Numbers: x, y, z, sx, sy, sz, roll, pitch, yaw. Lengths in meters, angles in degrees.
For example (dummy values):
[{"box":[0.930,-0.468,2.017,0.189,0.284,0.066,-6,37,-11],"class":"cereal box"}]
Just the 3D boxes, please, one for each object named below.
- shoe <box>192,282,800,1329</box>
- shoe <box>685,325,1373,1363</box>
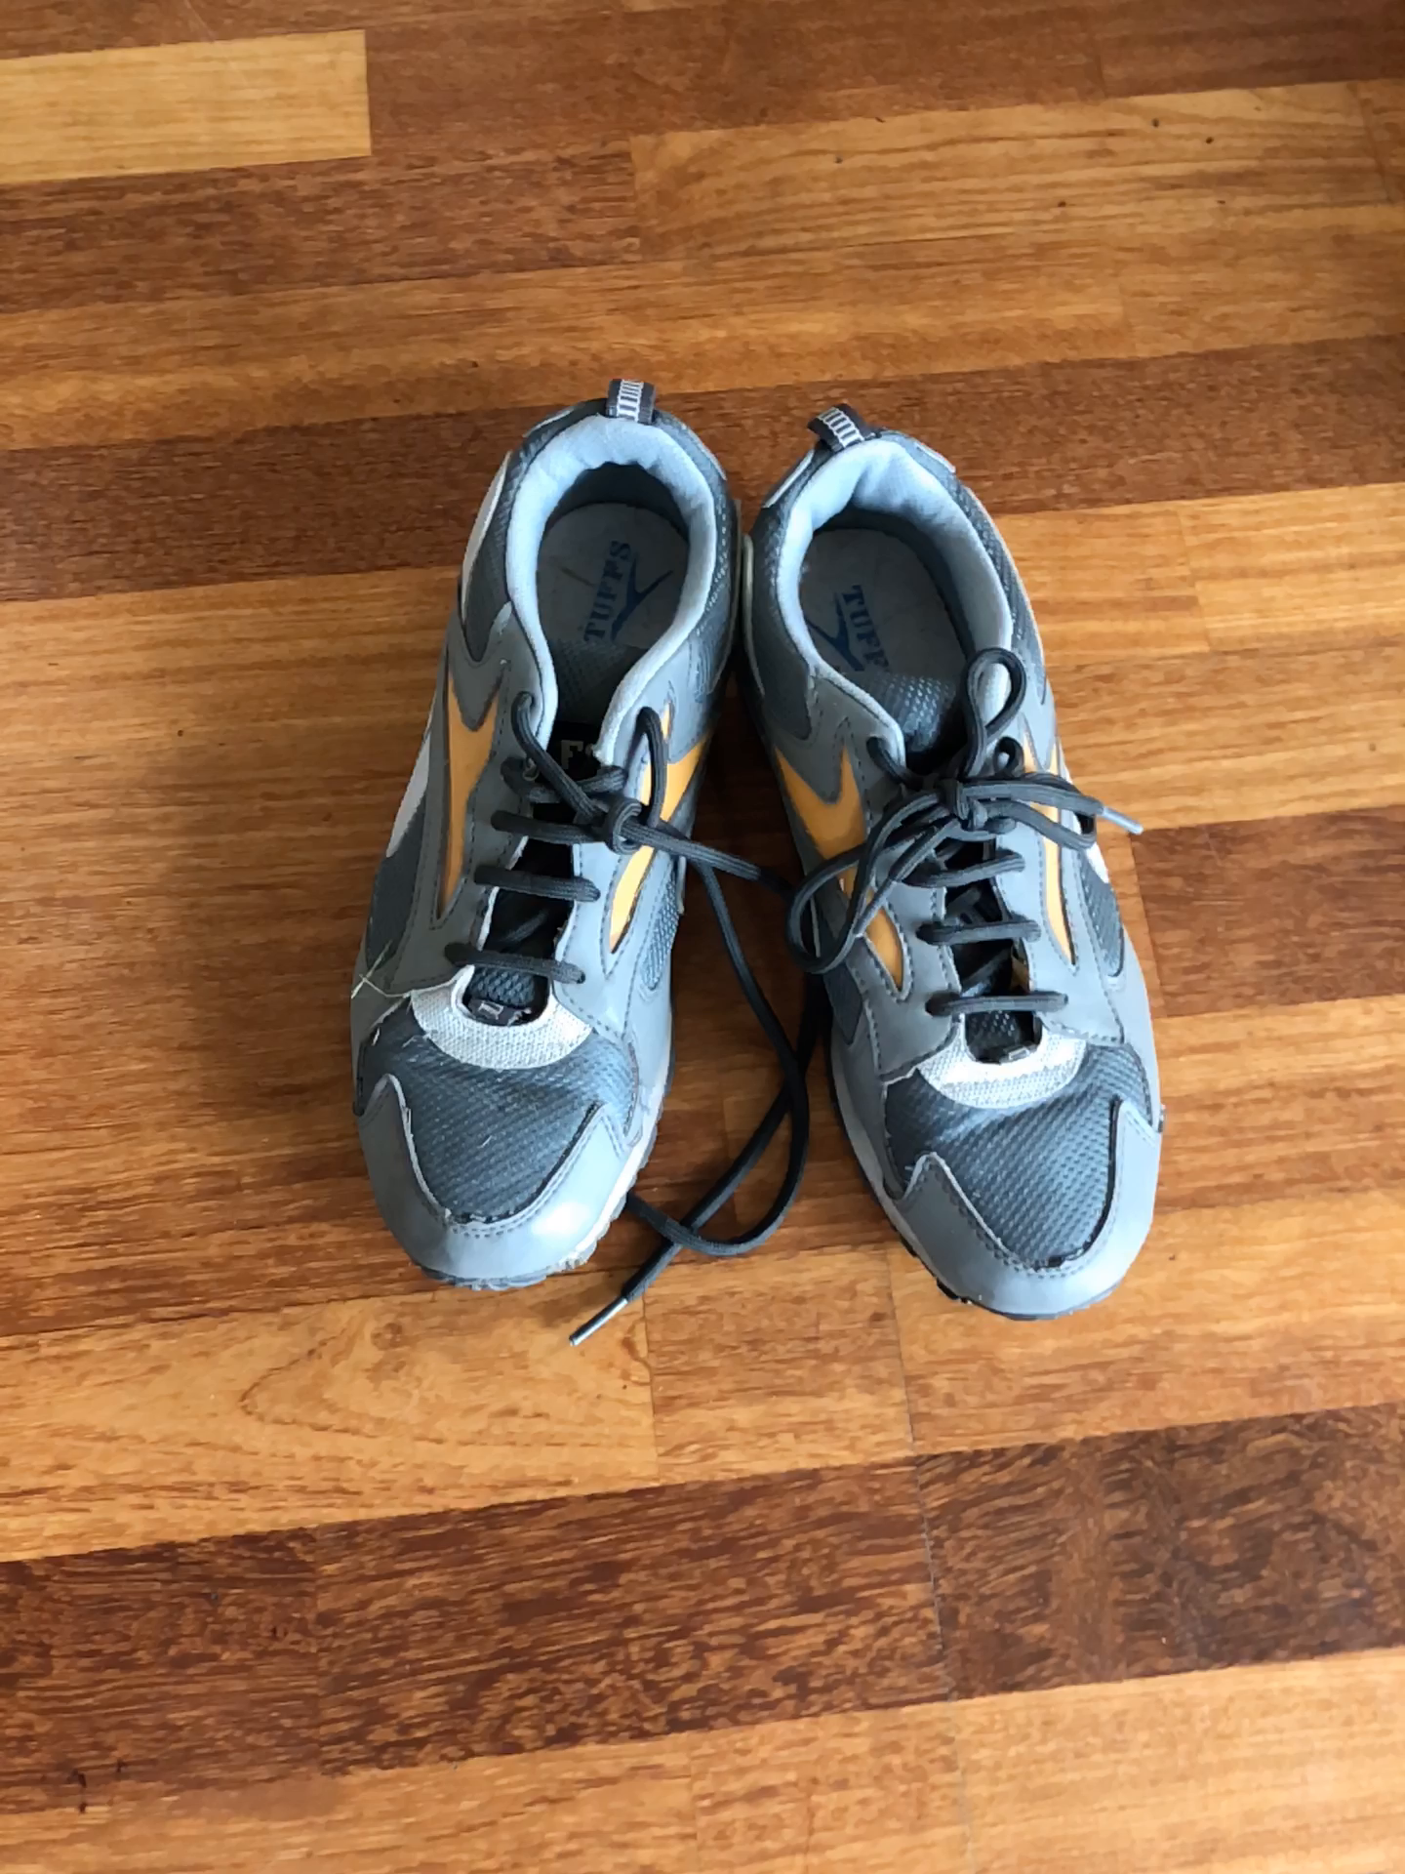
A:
[{"box":[-0.049,-0.040,0.458,0.110,0.088,0.284,10,71,-1],"class":"shoe"},{"box":[0.080,-0.030,0.467,0.112,0.099,0.284,-10,71,-7],"class":"shoe"}]
